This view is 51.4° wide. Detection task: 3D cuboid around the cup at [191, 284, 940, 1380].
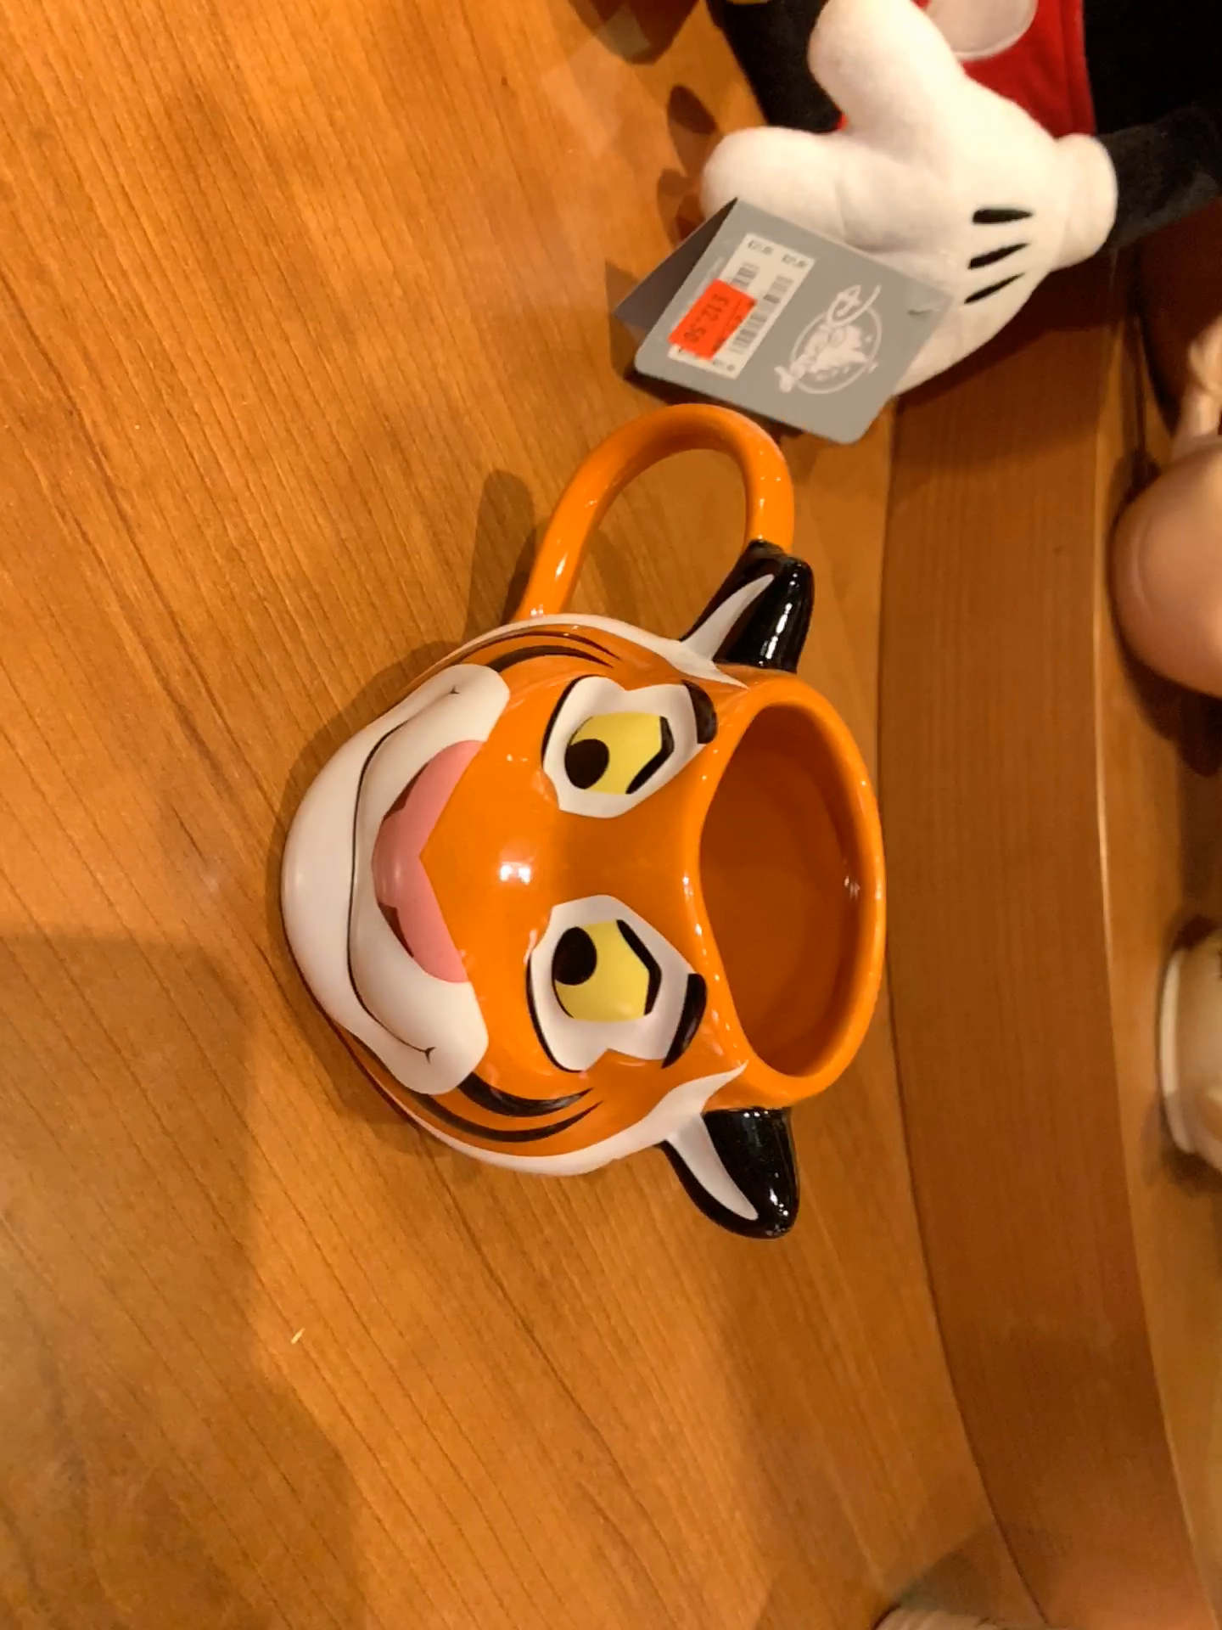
[{"bbox_3d":[0.000,0.007,0.239,0.107,0.086,0.149,14,76,-53],"label":"cup"}]
